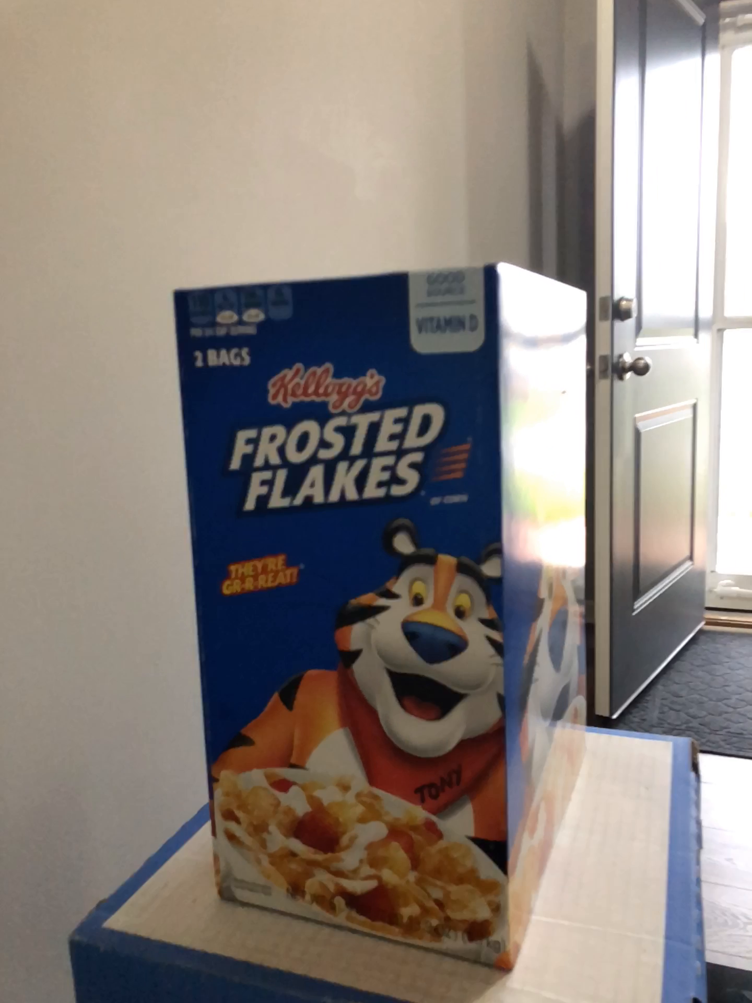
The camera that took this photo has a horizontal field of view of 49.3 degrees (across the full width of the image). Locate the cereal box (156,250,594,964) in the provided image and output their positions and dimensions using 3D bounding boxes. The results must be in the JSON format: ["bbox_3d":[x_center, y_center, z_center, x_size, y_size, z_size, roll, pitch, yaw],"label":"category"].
[{"bbox_3d":[0.029,0.032,0.505,0.170,0.319,0.260,2,10,22],"label":"cereal box"}]
